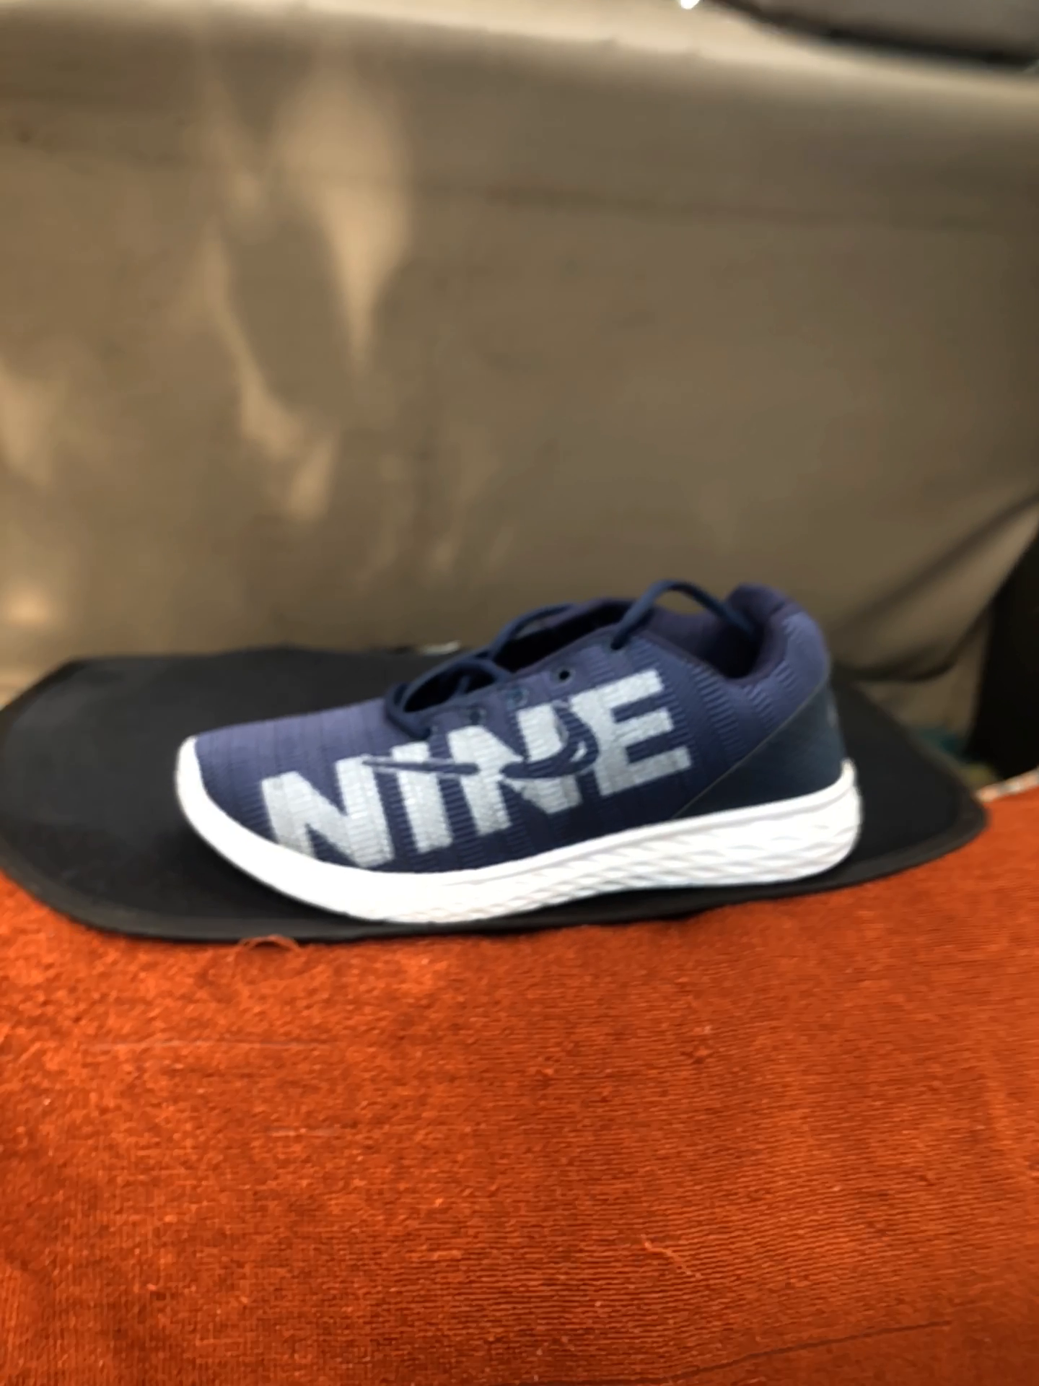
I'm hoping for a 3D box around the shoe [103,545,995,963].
[{"bbox_3d":[0.007,0.012,0.451,0.290,0.100,0.130,-3,21,-9],"label":"shoe"}]
